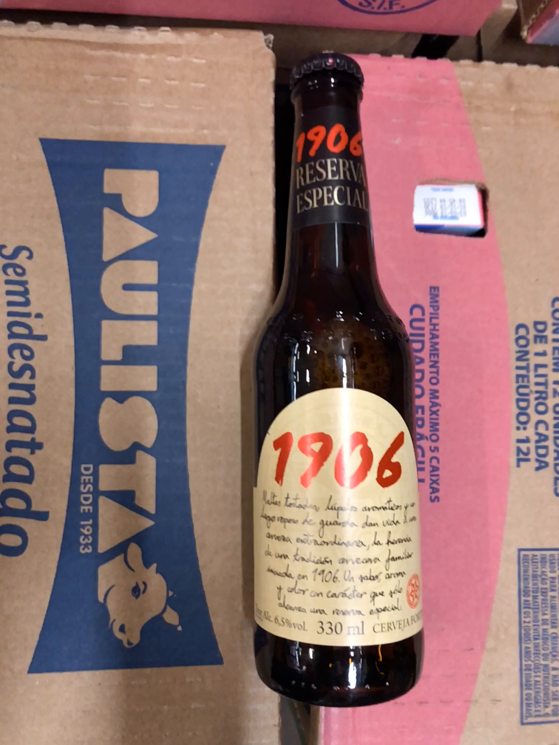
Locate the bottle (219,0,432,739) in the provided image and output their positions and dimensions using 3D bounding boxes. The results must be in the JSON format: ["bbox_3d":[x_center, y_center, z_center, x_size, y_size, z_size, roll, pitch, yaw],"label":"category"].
[{"bbox_3d":[0.014,-0.013,0.246,0.070,0.060,0.270,1,87,-8],"label":"bottle"}]
